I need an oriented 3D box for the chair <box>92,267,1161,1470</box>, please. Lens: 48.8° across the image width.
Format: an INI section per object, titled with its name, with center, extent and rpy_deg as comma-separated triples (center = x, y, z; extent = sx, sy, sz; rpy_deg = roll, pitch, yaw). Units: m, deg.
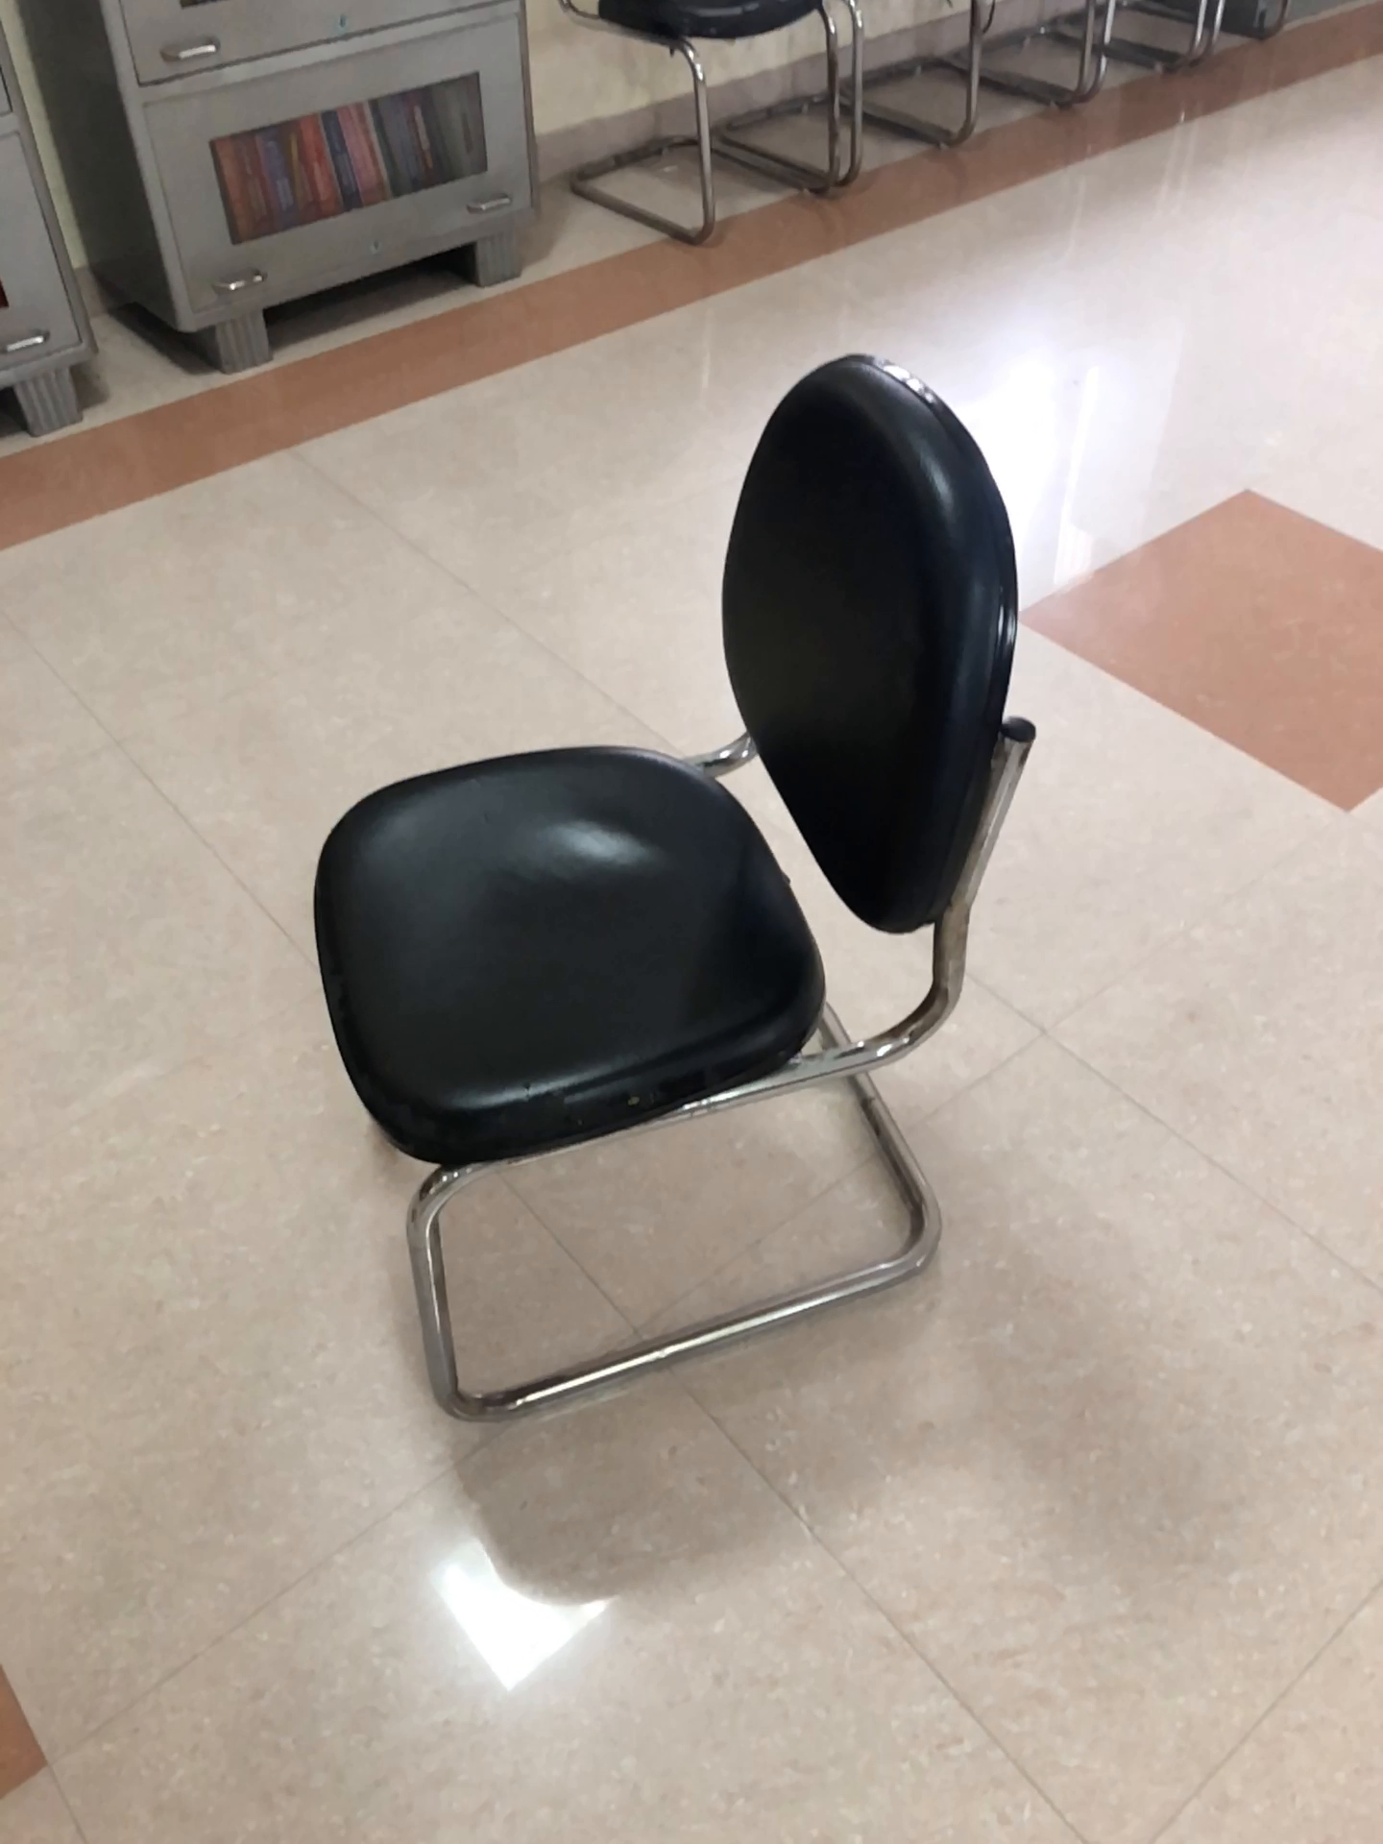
[chair]
center = -0.074, -0.032, 1.288
extent = 0.590, 0.757, 0.502
rpy_deg = -15, 47, -13
